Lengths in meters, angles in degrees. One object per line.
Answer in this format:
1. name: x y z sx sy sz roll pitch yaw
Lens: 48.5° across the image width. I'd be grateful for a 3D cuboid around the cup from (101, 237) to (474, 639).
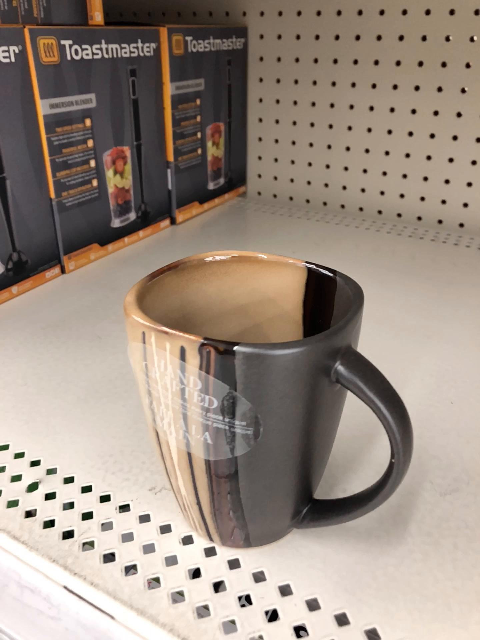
1. cup: 0.022 0.039 0.234 0.120 0.110 0.087 14 32 25
